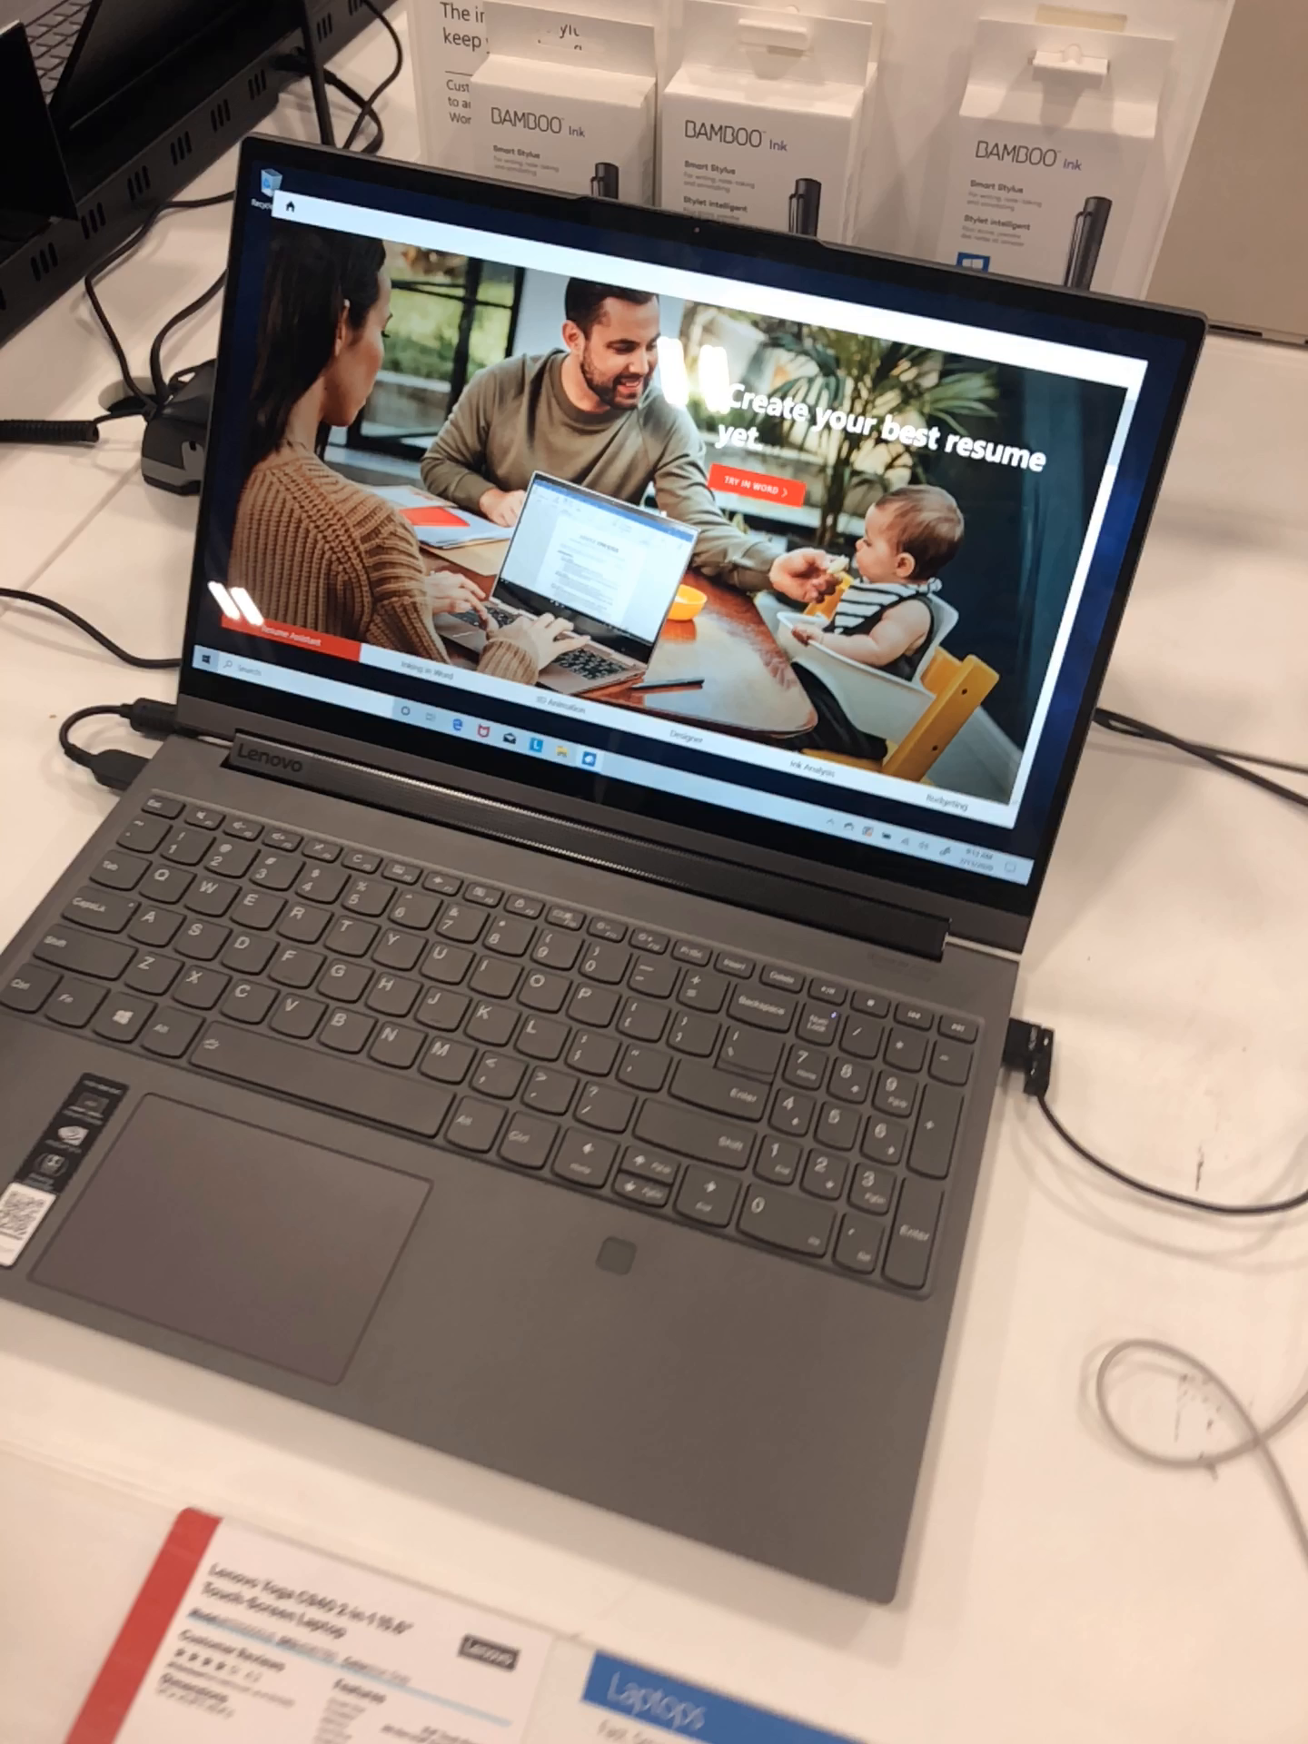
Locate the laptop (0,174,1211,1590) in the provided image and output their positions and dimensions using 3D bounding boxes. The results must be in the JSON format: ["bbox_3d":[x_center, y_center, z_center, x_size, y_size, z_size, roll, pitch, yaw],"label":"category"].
[{"bbox_3d":[-0.036,-0.033,0.473,0.345,0.189,0.369,15,50,10],"label":"laptop"}]
